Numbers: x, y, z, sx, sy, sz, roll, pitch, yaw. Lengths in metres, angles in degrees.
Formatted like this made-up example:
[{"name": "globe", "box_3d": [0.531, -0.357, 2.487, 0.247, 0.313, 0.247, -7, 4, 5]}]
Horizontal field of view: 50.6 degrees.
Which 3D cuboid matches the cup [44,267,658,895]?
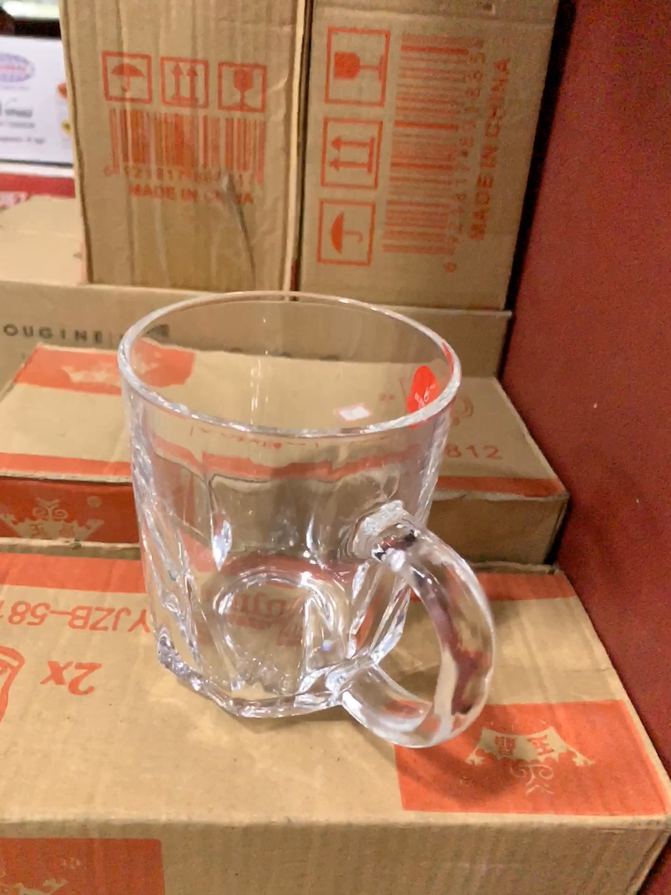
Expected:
[{"name": "cup", "box_3d": [-0.005, 0.013, 0.152, 0.069, 0.071, 0.100, -18, 36, -36]}]
